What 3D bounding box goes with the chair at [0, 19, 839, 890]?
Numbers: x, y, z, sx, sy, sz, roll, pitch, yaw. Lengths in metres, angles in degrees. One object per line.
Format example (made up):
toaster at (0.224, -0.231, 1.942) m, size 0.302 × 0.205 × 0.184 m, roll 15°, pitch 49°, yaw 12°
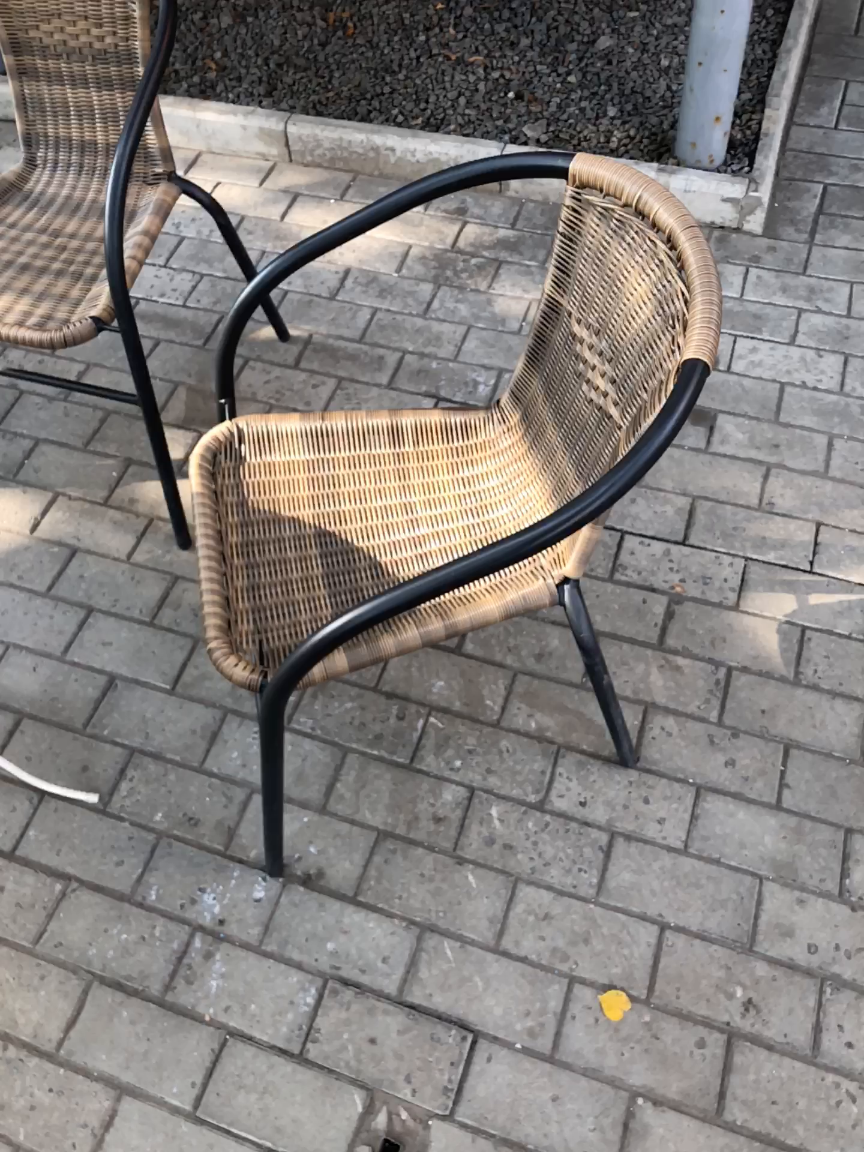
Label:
chair at (-0.042, -0.083, 1.046) m, size 0.590 × 0.668 × 0.541 m, roll -12°, pitch 55°, yaw -2°
